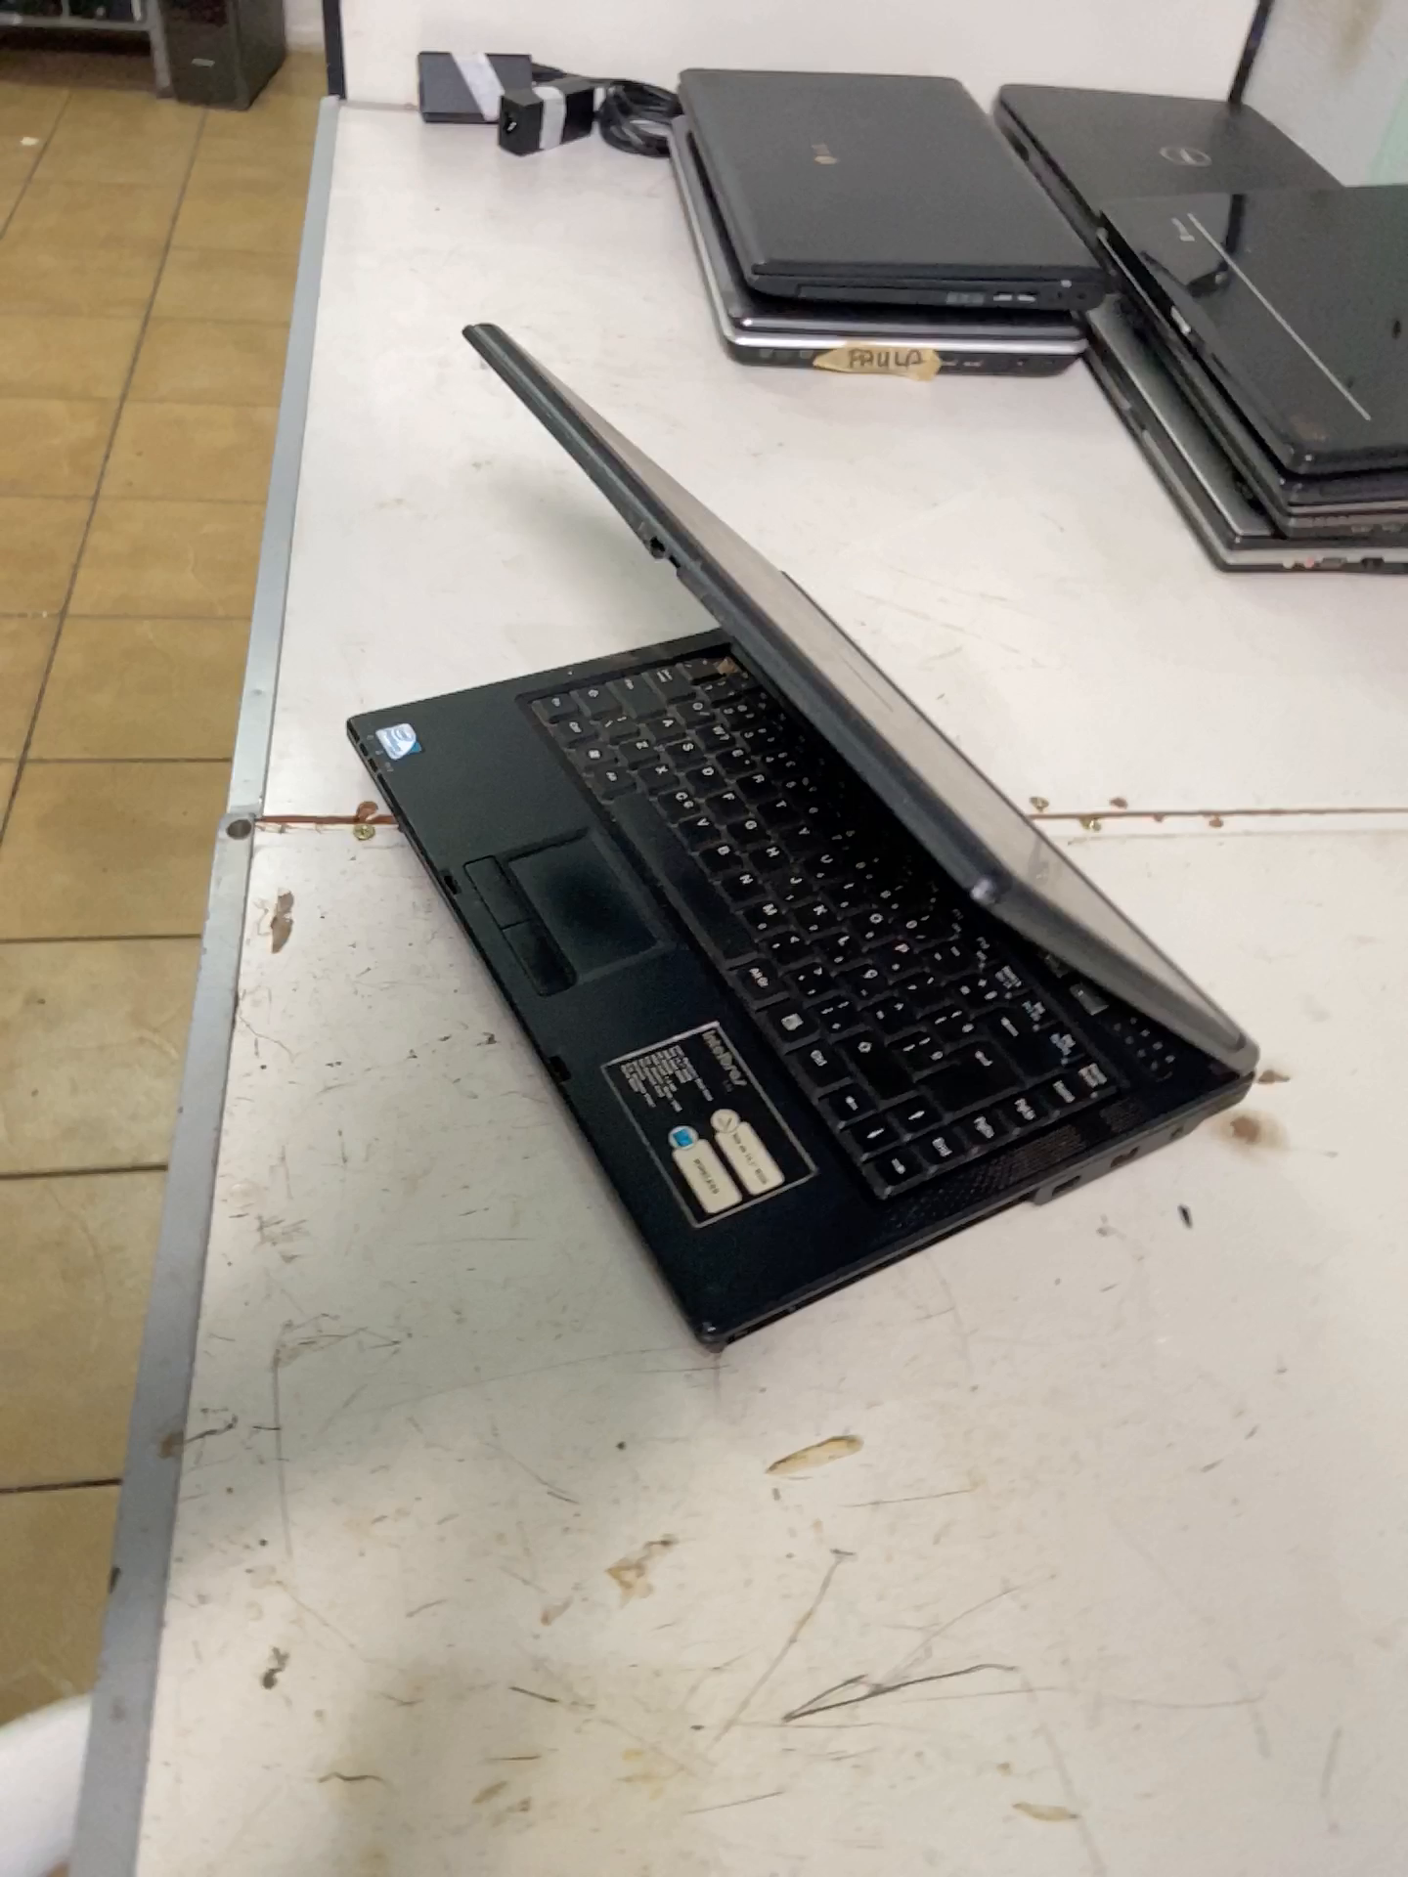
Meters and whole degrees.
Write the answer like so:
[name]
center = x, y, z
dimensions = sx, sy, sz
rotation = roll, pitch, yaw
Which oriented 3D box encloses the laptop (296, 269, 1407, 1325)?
[laptop]
center = 0.028, -0.080, 0.525
dimensions = 0.236, 0.168, 0.325
rotation = -19, 51, -24
